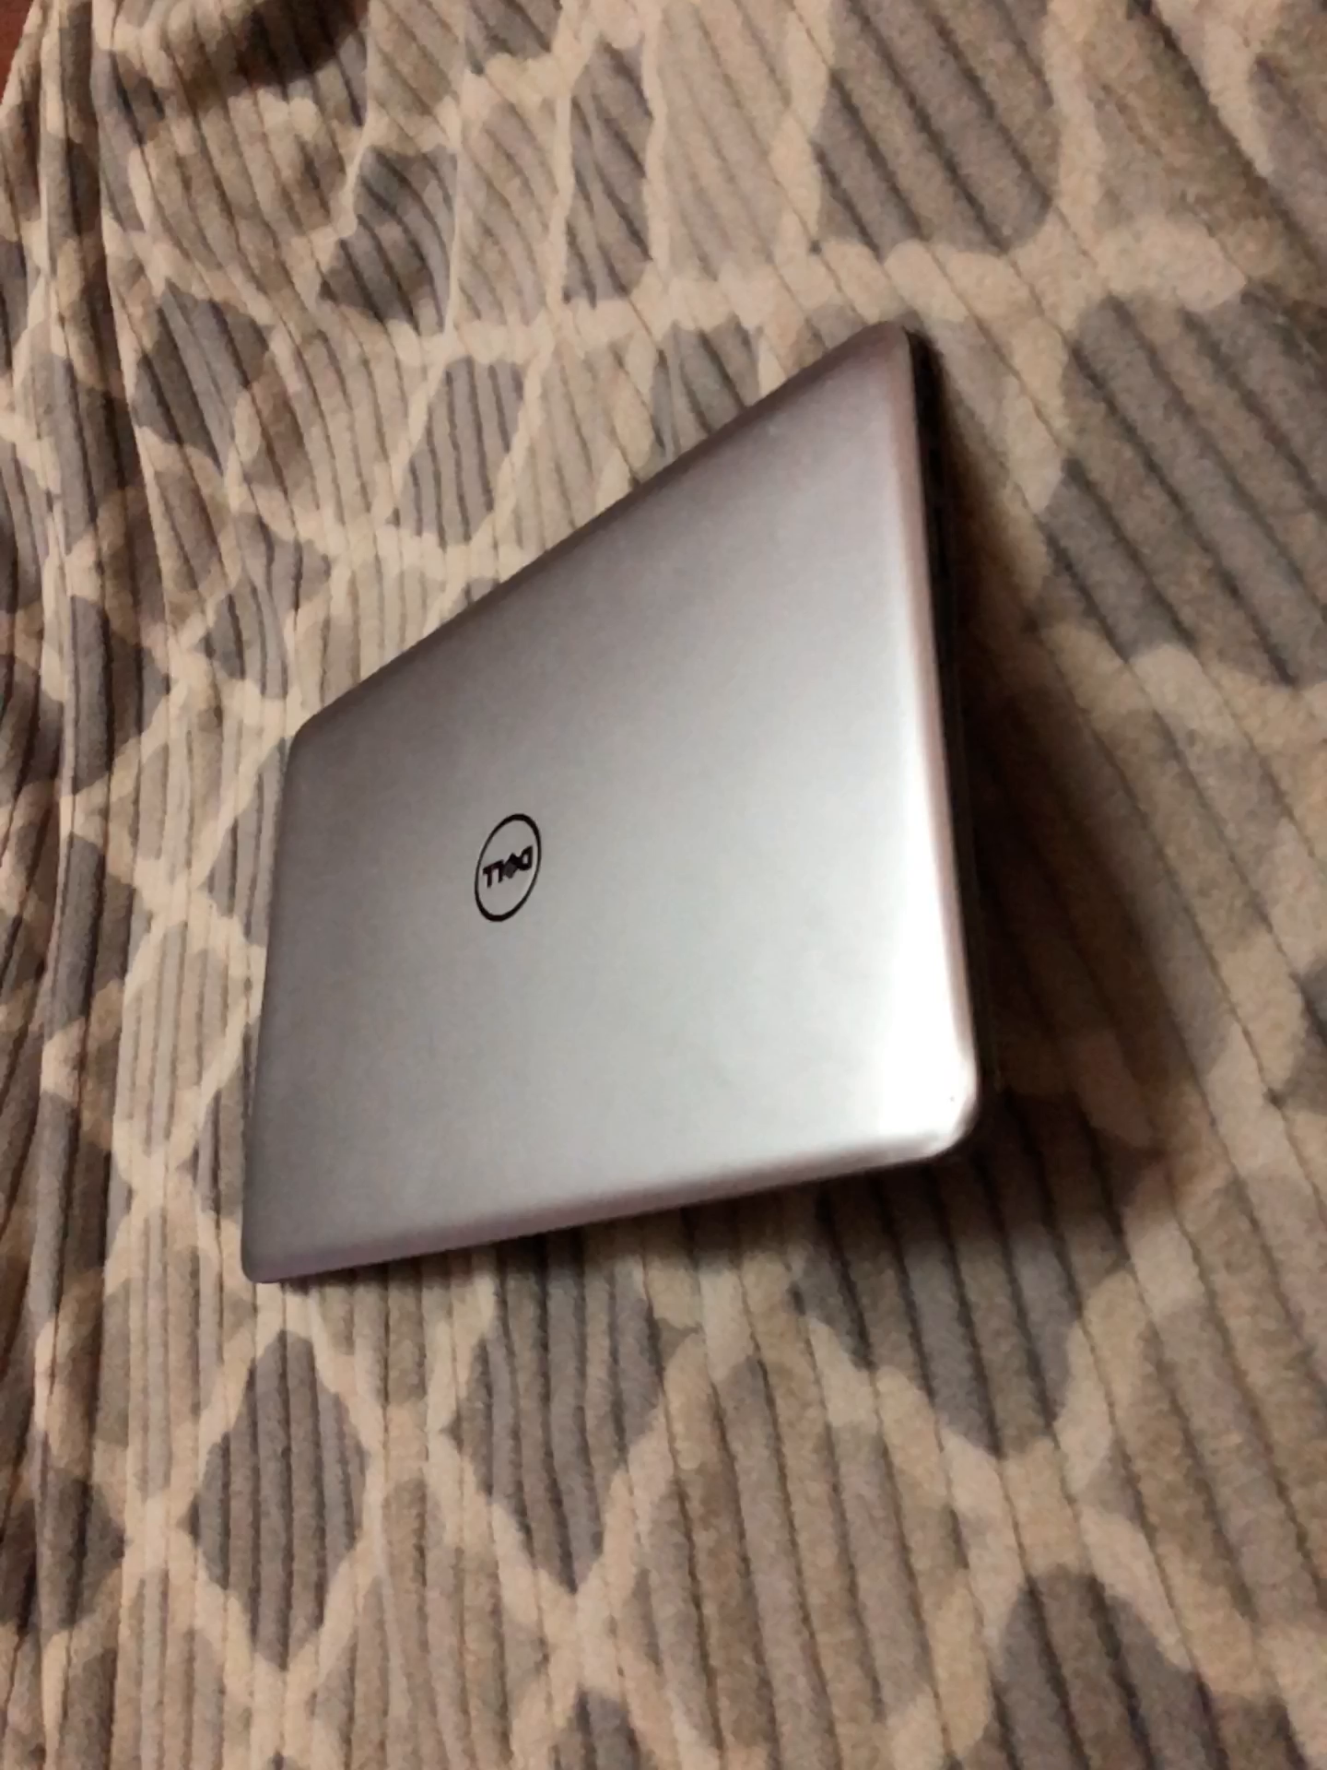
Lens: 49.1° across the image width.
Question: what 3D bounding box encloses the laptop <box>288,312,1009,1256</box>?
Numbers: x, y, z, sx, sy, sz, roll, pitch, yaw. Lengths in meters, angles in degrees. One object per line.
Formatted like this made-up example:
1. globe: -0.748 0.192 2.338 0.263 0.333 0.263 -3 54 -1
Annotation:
1. laptop: -0.038 -0.011 0.536 0.360 0.007 0.252 -23 61 43
